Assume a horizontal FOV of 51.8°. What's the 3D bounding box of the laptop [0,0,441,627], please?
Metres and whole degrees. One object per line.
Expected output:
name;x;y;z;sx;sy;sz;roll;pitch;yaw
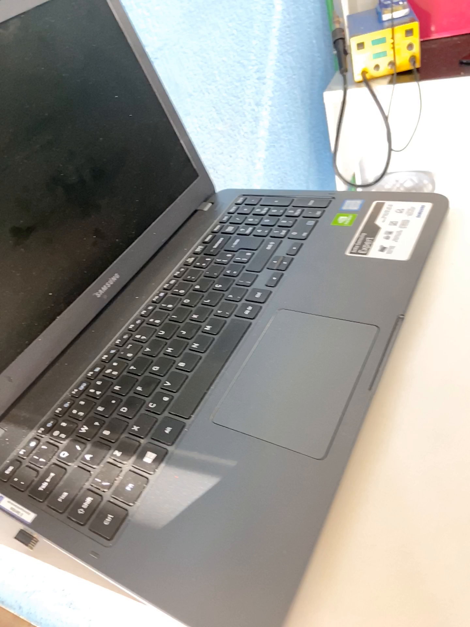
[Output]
laptop;-0.058;-0.083;0.320;0.287;0.232;0.372;9;48;32
